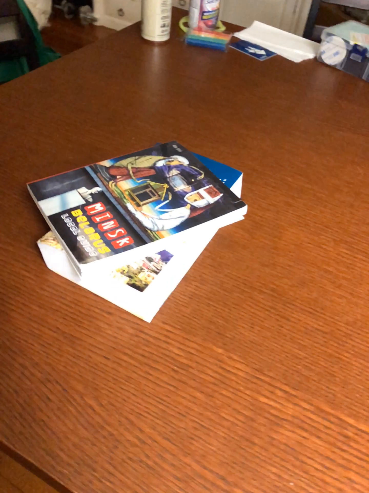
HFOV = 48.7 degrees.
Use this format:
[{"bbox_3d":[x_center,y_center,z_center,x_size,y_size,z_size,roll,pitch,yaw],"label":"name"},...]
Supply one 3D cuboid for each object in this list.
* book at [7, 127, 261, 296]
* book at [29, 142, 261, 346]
[{"bbox_3d":[-0.048,-0.050,0.394,0.190,0.020,0.151,-23,53,-26],"label":"book"},{"bbox_3d":[-0.027,-0.021,0.423,0.130,0.040,0.221,26,48,17],"label":"book"}]
